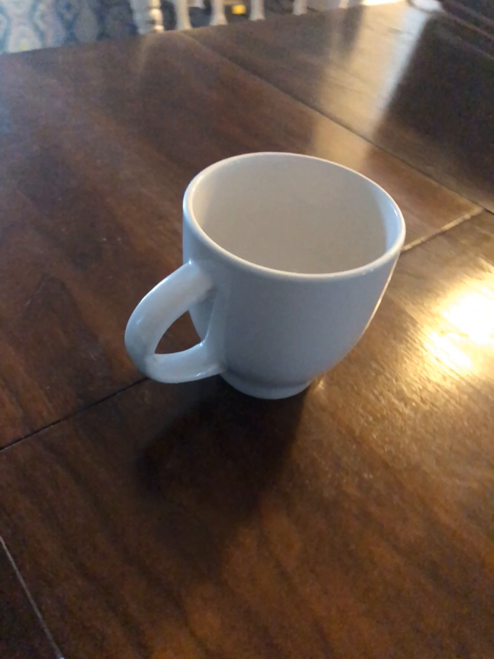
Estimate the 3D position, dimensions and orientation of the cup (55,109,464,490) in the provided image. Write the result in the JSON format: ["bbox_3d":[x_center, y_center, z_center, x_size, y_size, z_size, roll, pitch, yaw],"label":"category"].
[{"bbox_3d":[0.006,-0.026,0.282,0.150,0.100,0.110,-31,57,-32],"label":"cup"}]
